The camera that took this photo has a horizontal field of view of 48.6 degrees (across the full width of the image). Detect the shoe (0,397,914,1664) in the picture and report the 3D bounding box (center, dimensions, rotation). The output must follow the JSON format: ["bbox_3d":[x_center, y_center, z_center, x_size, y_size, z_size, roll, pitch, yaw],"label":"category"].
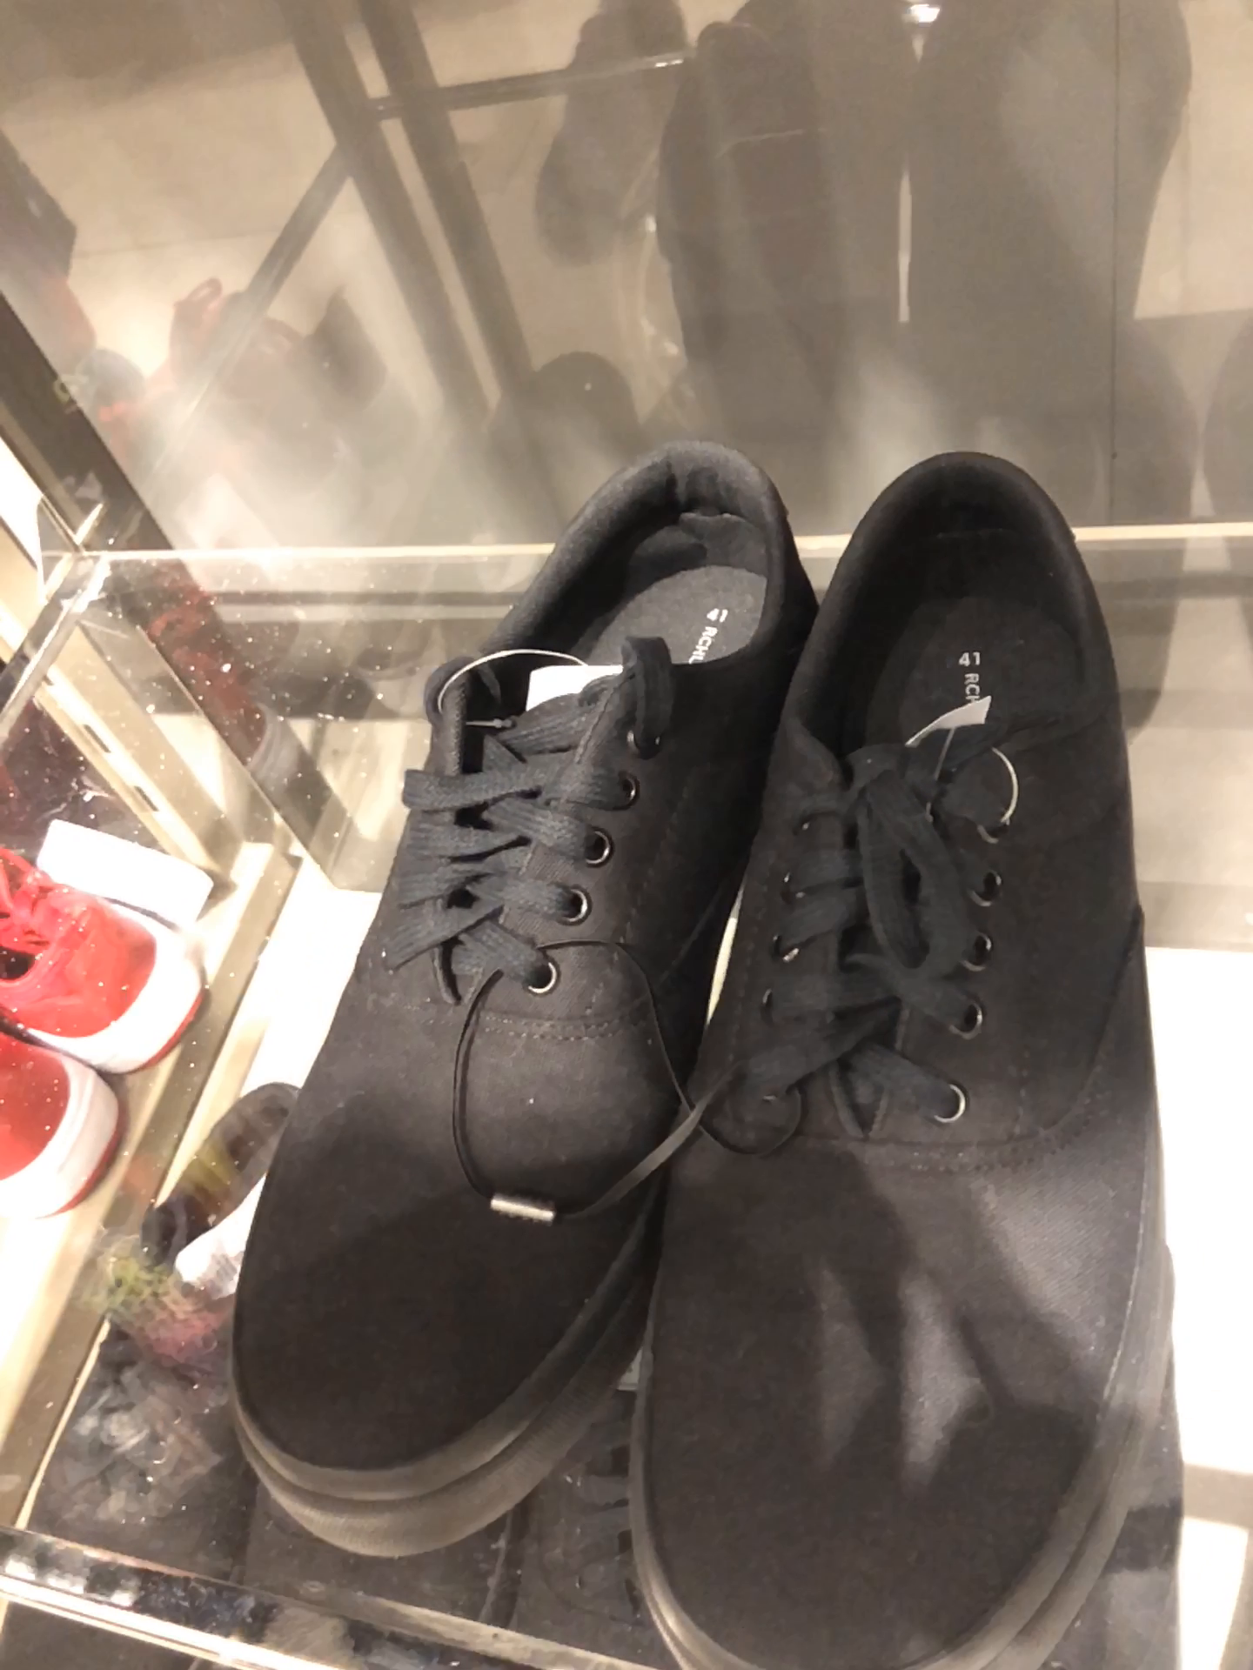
[{"bbox_3d":[-0.014,0.027,0.385,0.110,0.109,0.321,7,57,23],"label":"shoe"}]

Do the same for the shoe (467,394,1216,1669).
[{"bbox_3d":[0.077,0.045,0.334,0.110,0.109,0.321,3,55,20],"label":"shoe"}]
